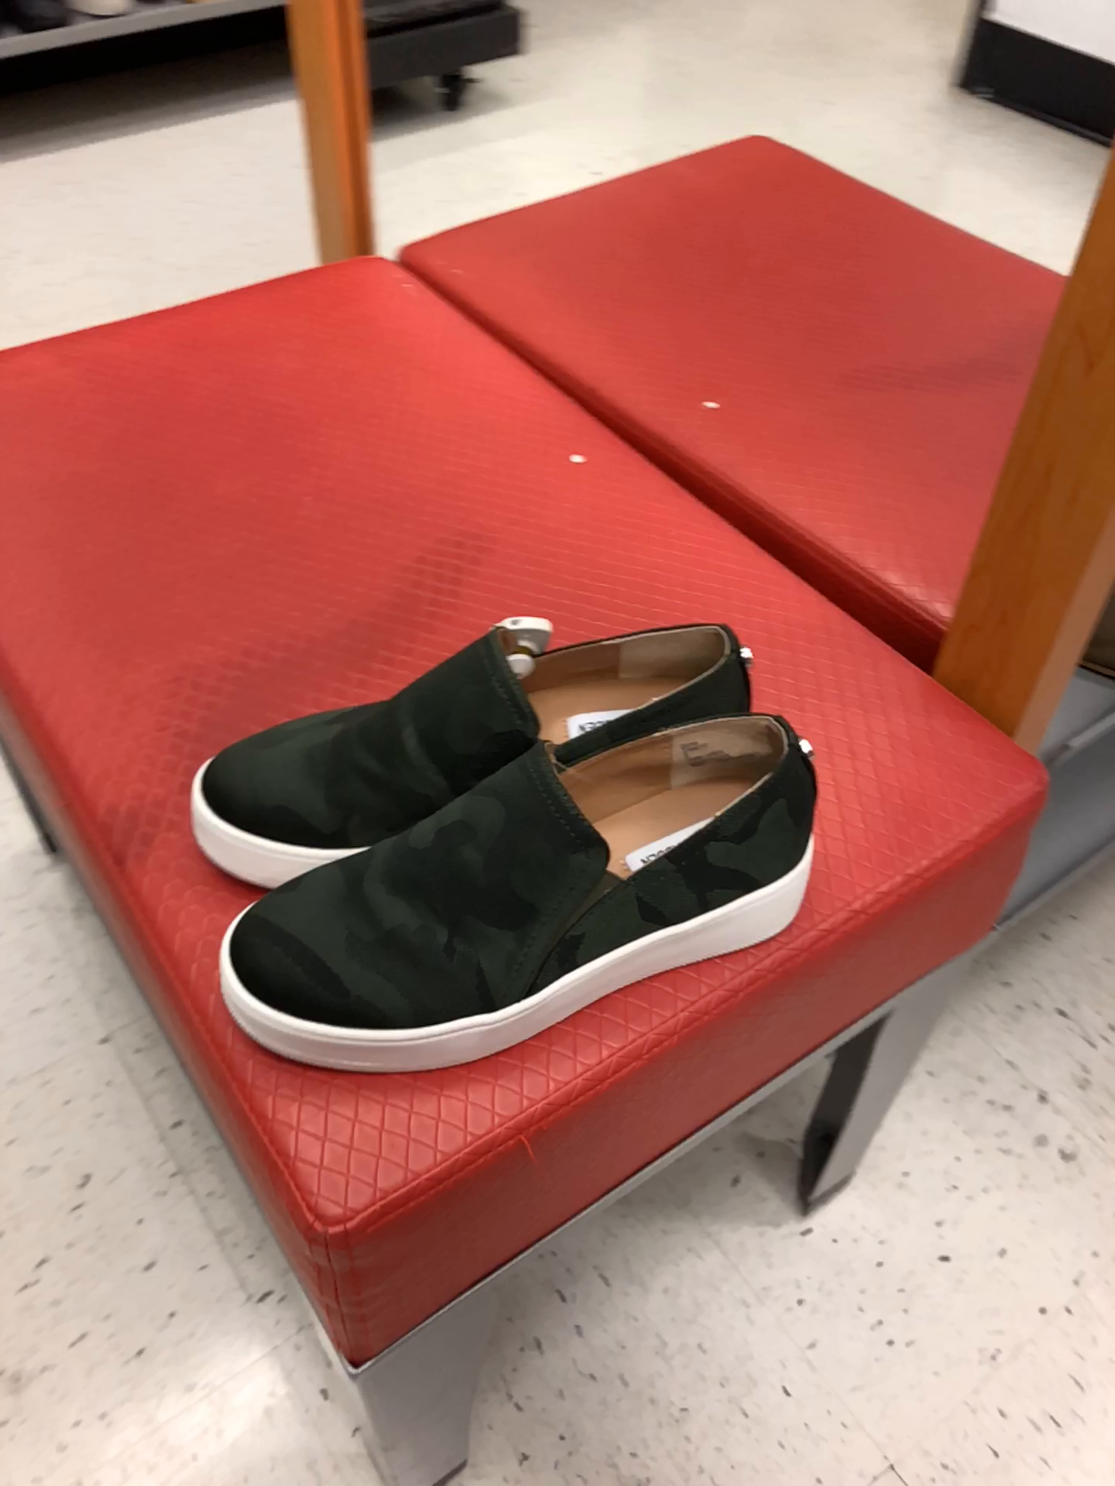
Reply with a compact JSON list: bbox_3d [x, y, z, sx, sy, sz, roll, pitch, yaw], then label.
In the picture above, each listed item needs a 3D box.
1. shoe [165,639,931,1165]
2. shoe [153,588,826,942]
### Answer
[{"bbox_3d":[-0.003,0.056,0.505,0.276,0.086,0.106,-16,49,-17],"label":"shoe"},{"bbox_3d":[-0.030,0.007,0.554,0.276,0.086,0.077,-10,47,-11],"label":"shoe"}]
